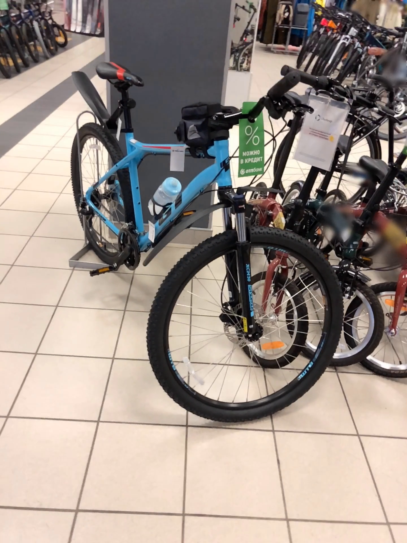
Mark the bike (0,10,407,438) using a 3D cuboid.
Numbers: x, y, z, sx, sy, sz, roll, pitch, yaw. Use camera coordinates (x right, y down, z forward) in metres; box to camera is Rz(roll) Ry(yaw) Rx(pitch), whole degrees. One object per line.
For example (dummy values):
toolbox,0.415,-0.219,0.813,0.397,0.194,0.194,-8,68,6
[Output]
bike,-0.109,-0.341,1.871,1.614,1.084,0.693,31,39,32
